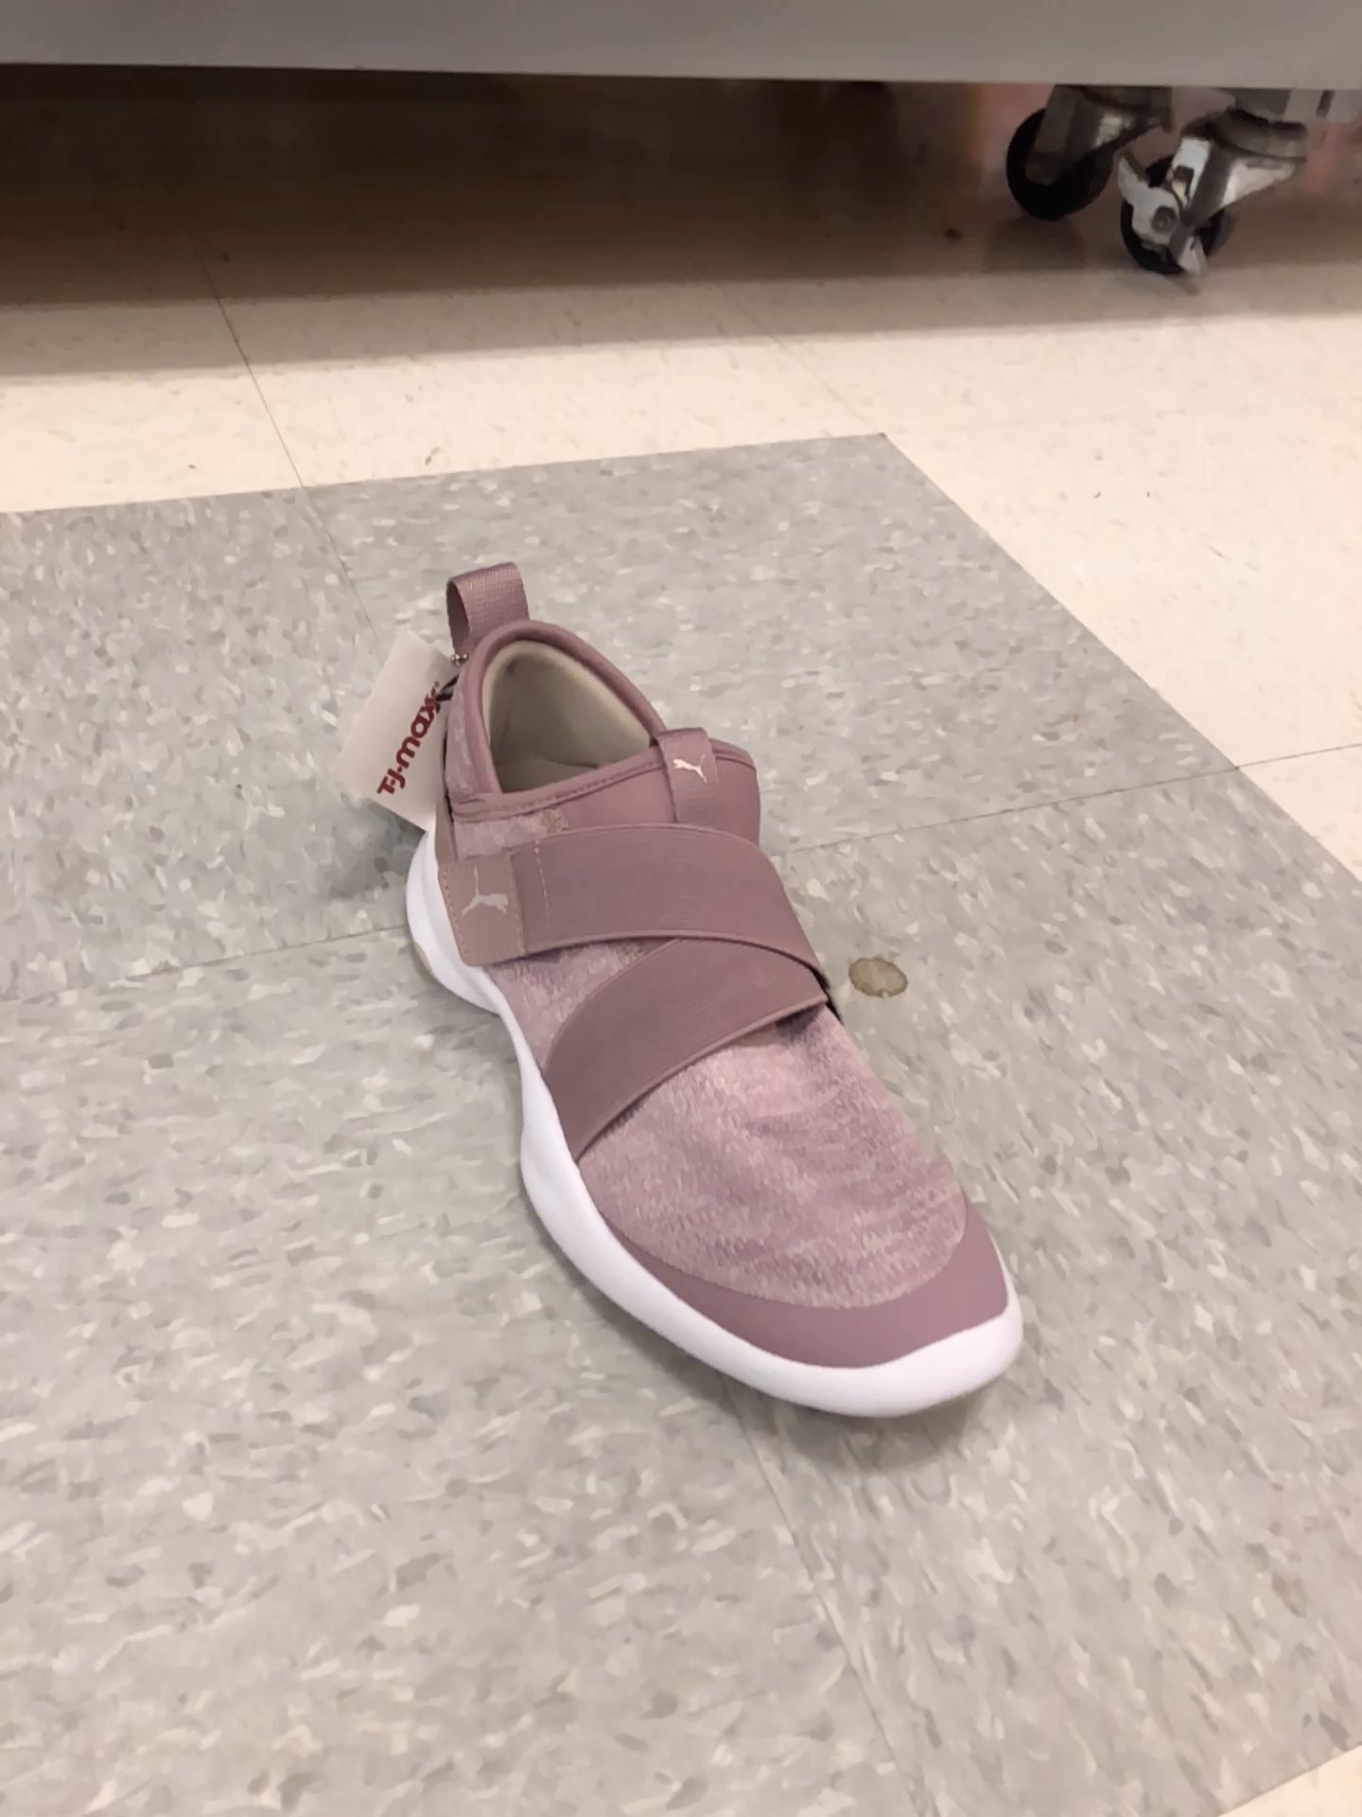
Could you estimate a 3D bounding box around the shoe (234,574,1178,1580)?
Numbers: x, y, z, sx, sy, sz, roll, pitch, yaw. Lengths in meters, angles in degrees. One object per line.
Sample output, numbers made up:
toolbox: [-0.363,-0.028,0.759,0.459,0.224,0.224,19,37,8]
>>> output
shoe: [-0.015,0.022,0.416,0.105,0.093,0.272,-21,49,-30]
